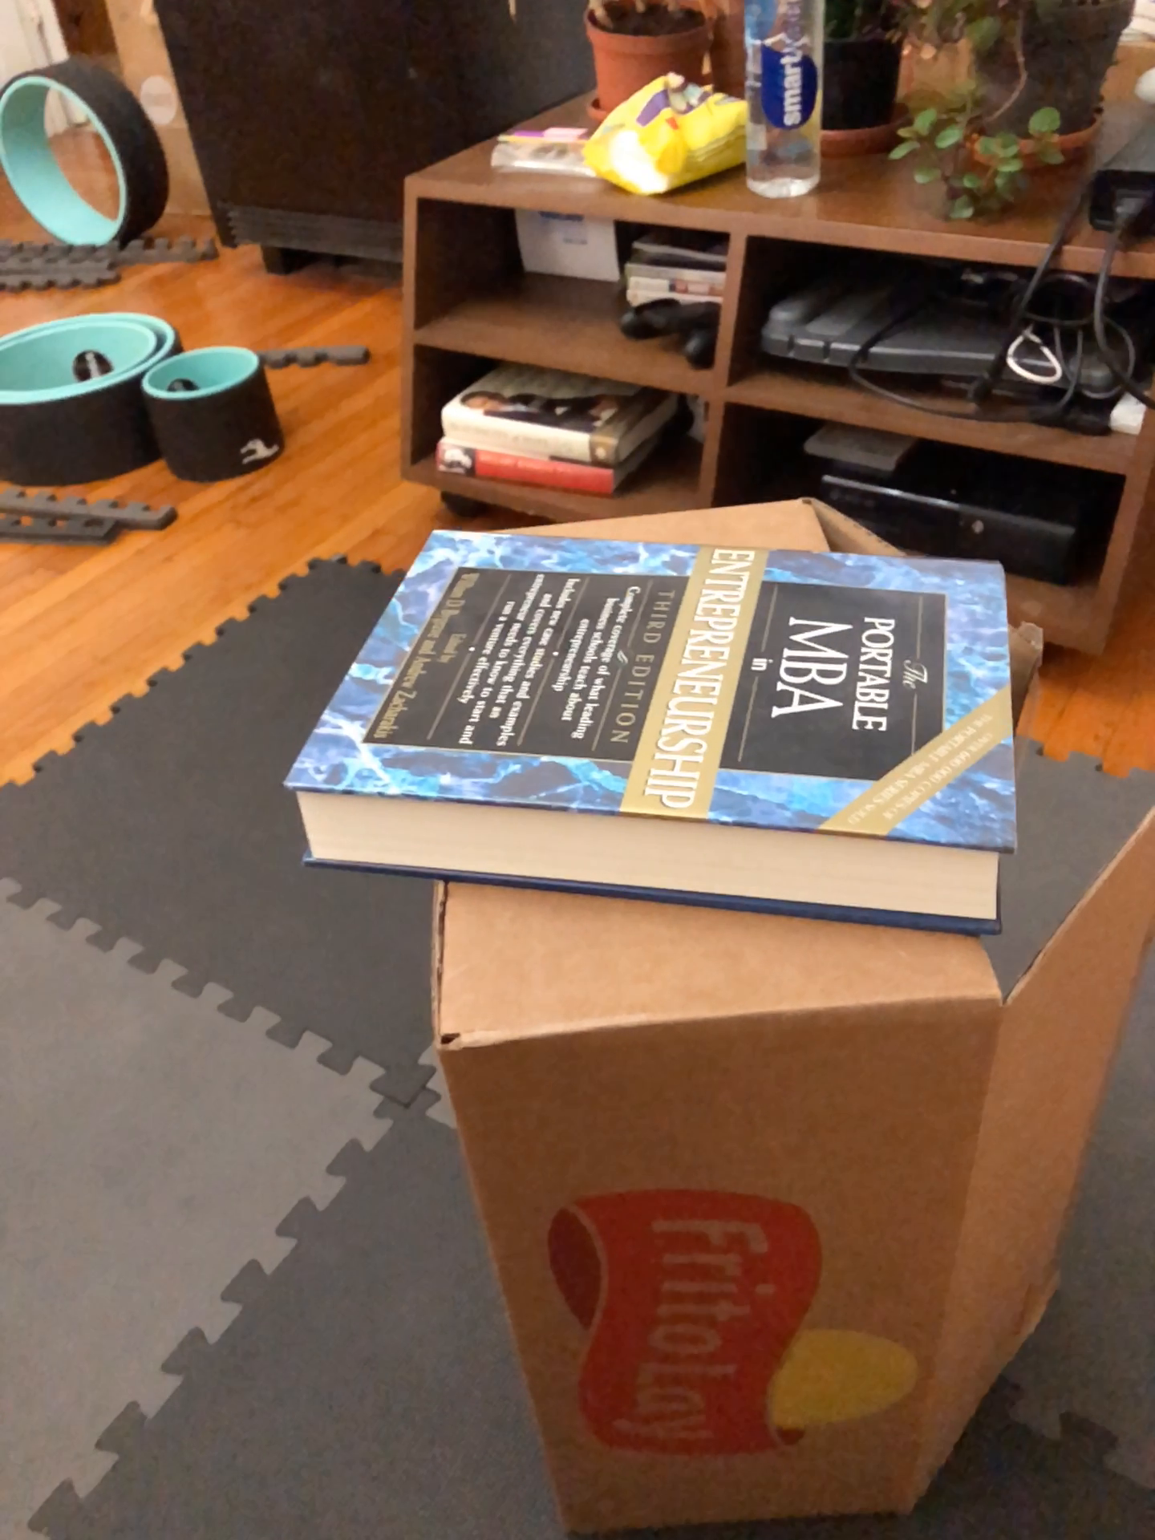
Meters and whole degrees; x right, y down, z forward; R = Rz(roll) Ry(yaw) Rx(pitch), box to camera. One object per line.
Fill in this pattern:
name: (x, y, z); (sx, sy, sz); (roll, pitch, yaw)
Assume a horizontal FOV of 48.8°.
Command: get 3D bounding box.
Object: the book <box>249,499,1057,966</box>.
book: (0.041, -0.032, 0.514); (0.270, 0.060, 0.211); (3, 40, 15)
